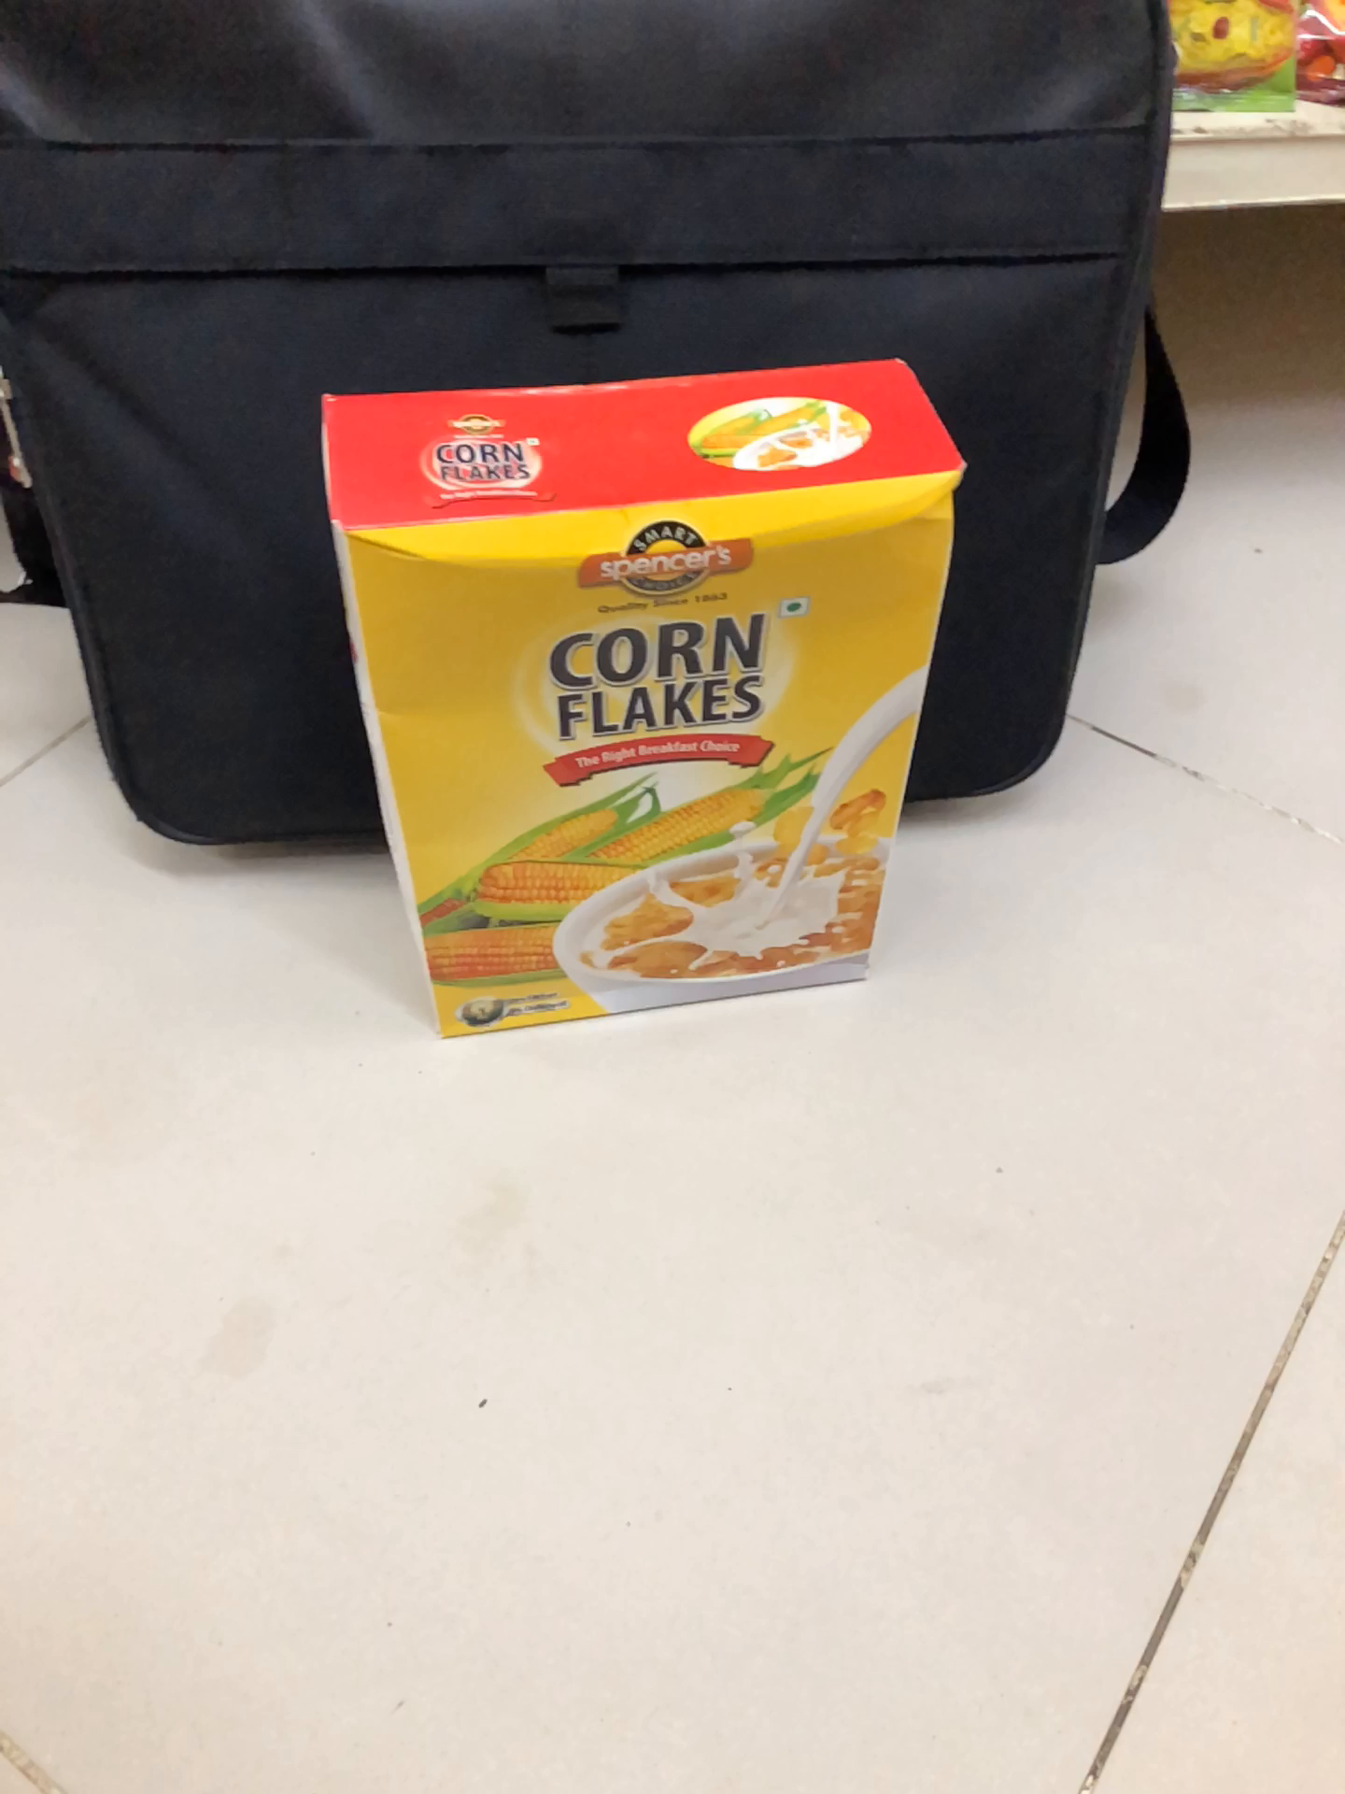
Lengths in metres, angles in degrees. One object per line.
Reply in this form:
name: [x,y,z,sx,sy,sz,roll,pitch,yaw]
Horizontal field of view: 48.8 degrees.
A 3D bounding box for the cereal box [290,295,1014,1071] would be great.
cereal box: [-0.008,-0.055,0.512,0.190,0.269,0.070,-8,52,-6]
